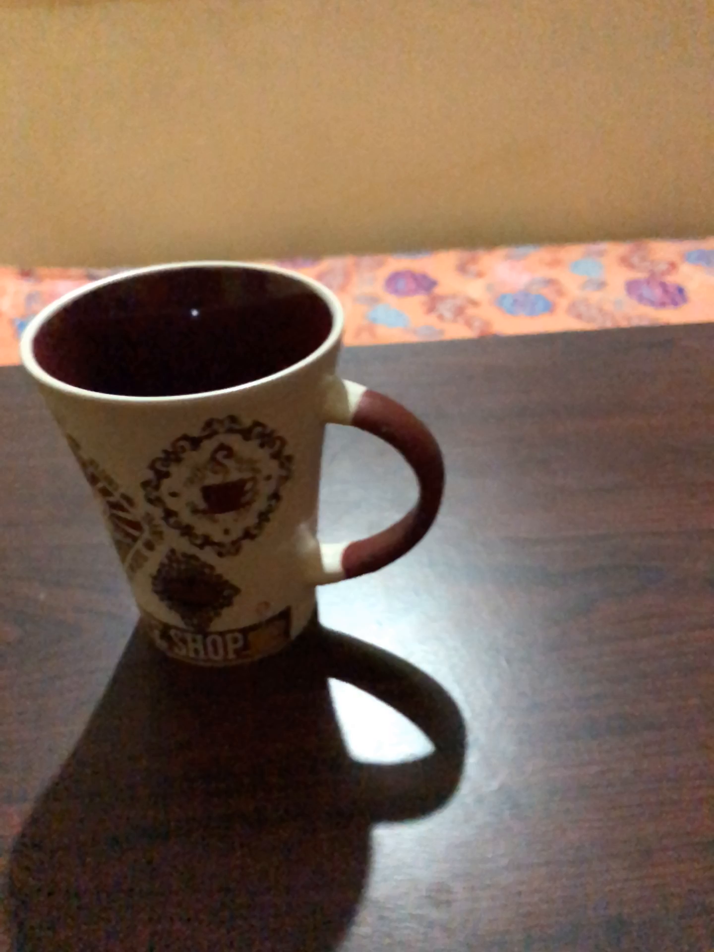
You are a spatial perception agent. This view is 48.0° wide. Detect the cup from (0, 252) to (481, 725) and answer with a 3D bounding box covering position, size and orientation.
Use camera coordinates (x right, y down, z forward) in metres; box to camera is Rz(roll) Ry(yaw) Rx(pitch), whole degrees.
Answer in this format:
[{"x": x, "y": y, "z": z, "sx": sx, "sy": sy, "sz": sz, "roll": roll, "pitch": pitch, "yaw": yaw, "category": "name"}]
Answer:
[{"x": -0.029, "y": -0.003, "z": 0.259, "sx": 0.120, "sy": 0.099, "sz": 0.101, "roll": 7, "pitch": 36, "yaw": 13, "category": "cup"}]
